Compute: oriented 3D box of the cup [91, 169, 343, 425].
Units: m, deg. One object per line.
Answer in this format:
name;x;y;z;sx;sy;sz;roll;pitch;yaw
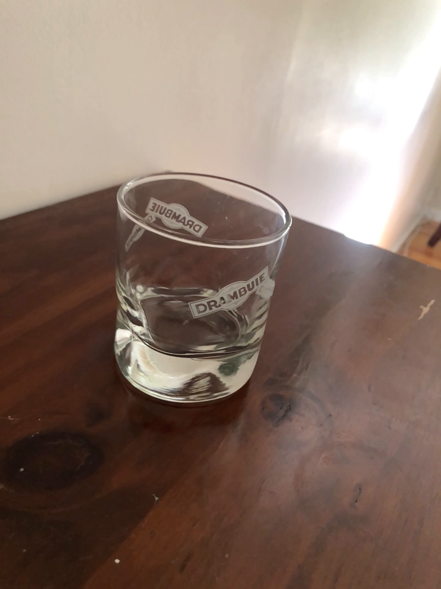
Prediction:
cup;-0.010;-0.005;0.231;0.082;0.080;0.081;8;30;-5
